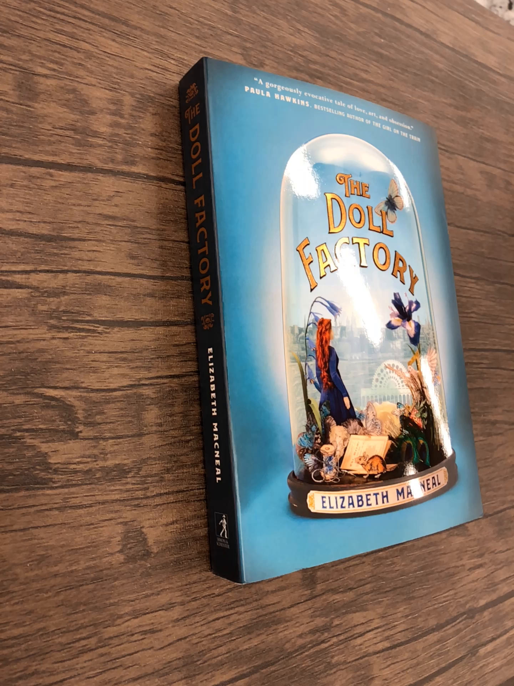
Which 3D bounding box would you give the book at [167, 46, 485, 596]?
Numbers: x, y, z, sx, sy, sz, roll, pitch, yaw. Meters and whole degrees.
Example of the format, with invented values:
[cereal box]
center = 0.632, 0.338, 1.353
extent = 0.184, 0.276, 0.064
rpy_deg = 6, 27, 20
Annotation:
[book]
center = 0.042, -0.013, 0.301
extent = 0.161, 0.040, 0.230
rpy_deg = 0, 82, -37
